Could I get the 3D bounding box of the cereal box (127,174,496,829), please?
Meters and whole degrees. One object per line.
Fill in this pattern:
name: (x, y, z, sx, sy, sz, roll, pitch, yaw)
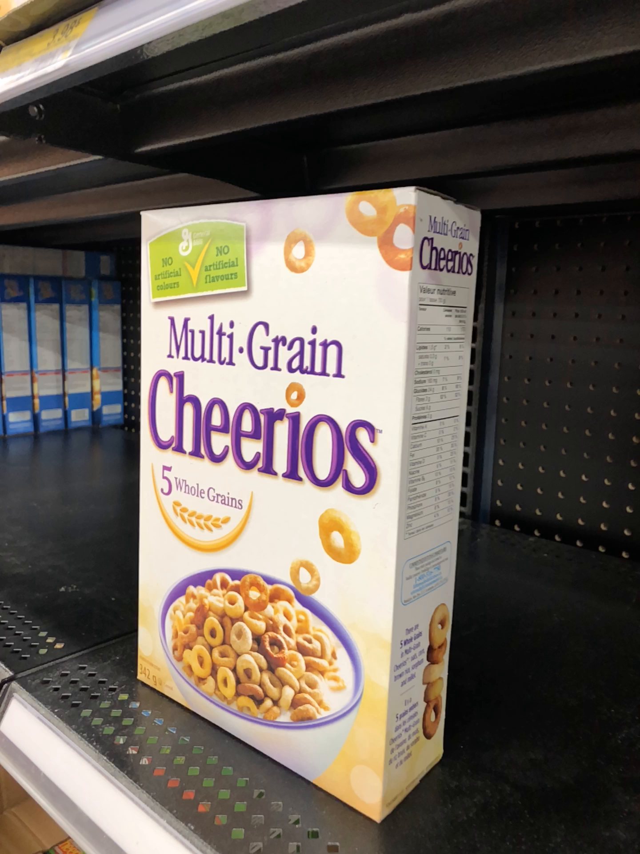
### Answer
cereal box: (-0.019, 0.025, 0.395, 0.200, 0.289, 0.070, 9, 11, 40)
